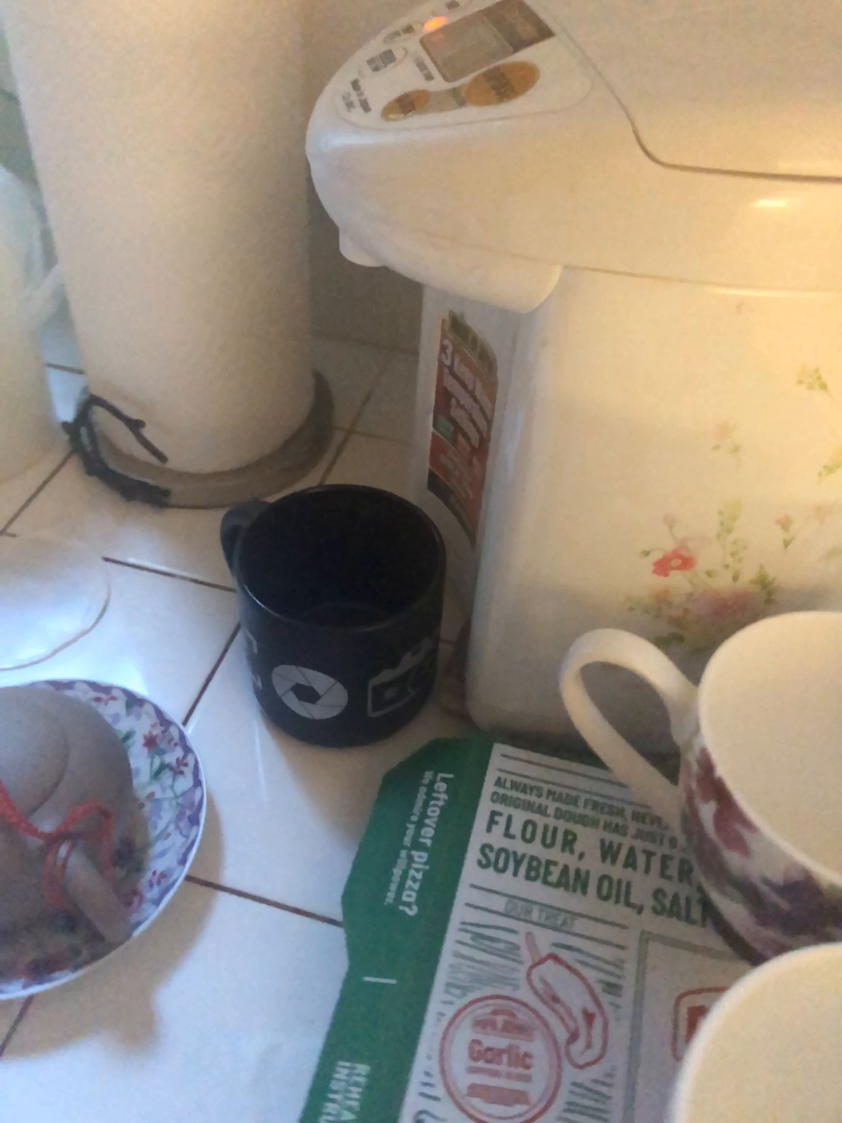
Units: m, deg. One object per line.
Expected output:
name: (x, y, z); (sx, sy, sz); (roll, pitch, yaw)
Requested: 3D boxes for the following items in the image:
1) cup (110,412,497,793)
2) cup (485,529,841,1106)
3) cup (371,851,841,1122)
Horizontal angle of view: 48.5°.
cup: (-0.053, 0.013, 0.424); (0.140, 0.079, 0.091); (31, 51, 24)
cup: (0.118, 0.075, 0.303); (0.160, 0.079, 0.101); (20, 47, 15)
cup: (0.078, 0.145, 0.211); (0.160, 0.079, 0.101); (9, 45, 4)
